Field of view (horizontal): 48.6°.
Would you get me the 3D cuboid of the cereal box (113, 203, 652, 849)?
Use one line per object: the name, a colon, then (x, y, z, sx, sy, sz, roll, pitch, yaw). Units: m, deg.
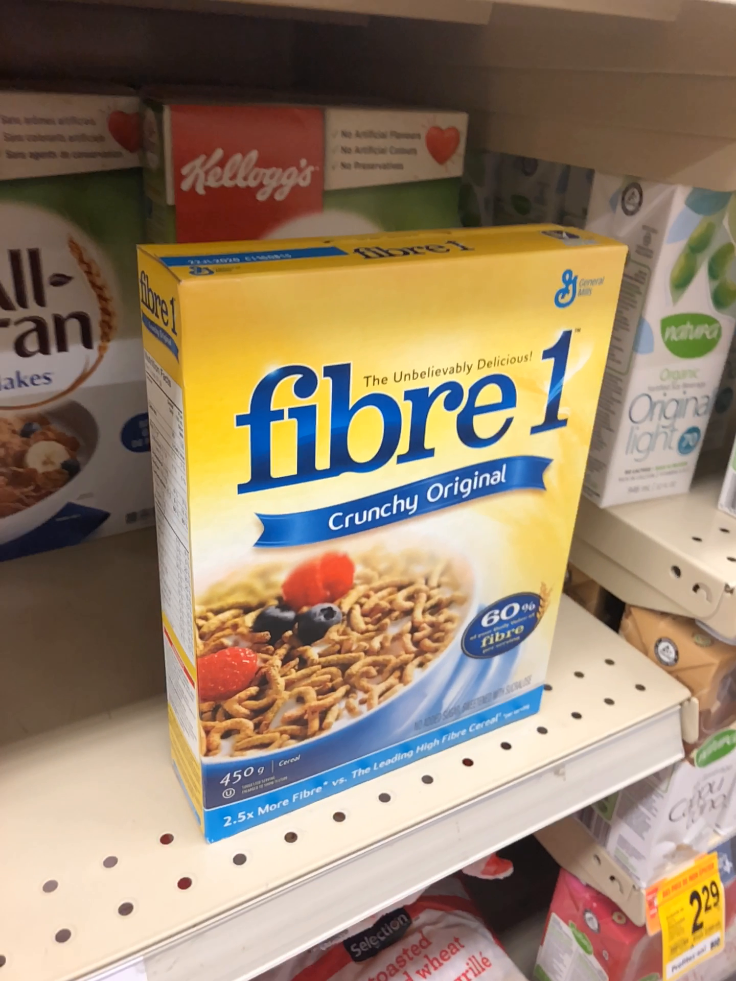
cereal box: (0.006, 0.013, 0.382, 0.210, 0.268, 0.060, -12, 32, -27)
